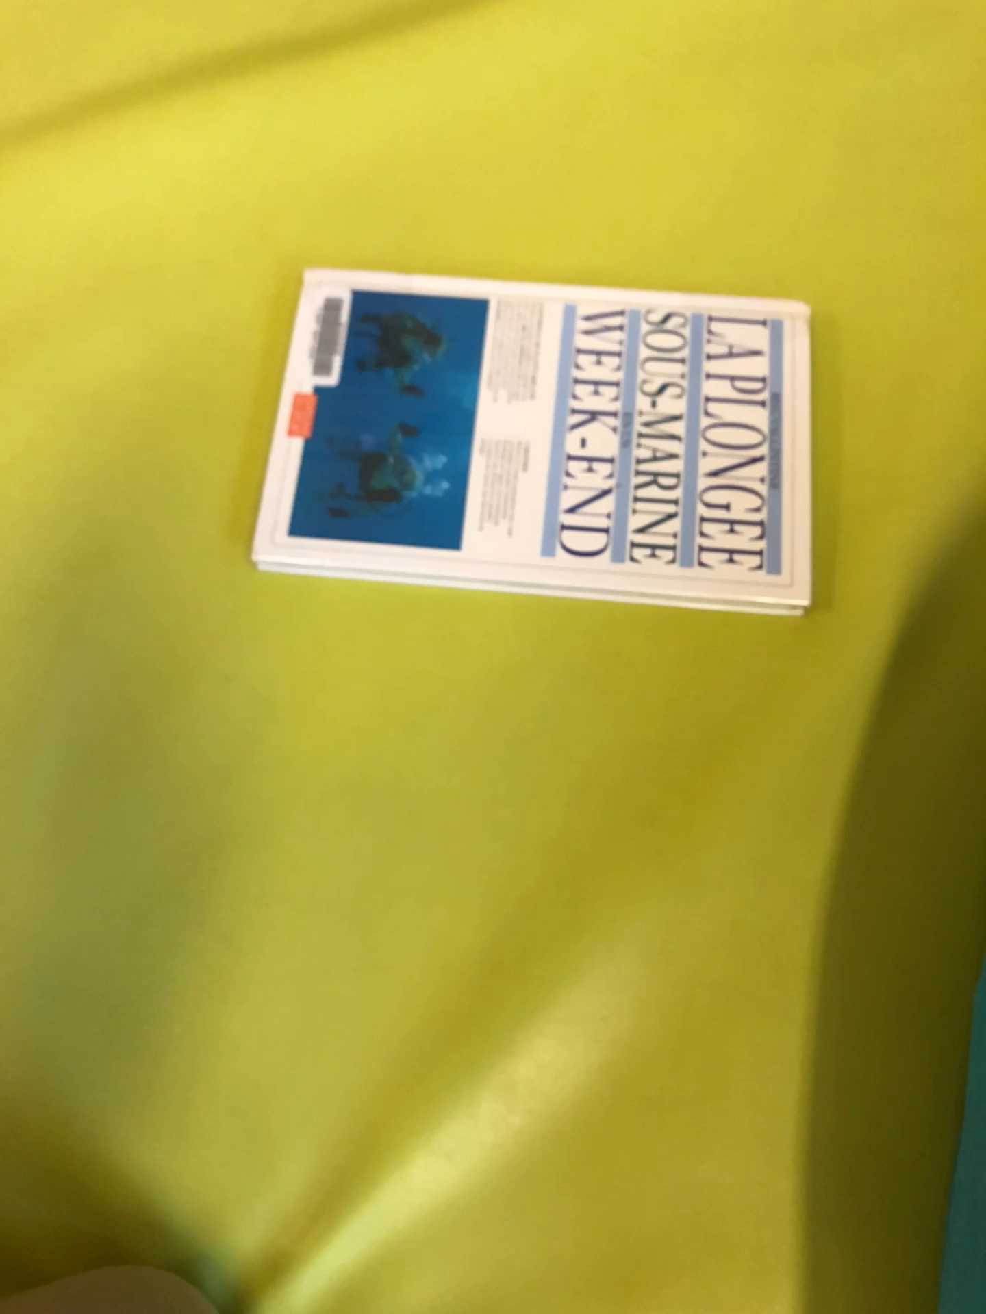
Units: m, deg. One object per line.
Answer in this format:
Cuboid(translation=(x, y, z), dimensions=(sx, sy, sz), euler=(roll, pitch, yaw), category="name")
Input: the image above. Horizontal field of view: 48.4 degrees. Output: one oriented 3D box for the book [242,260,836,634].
Cuboid(translation=(0.024, -0.093, 0.468), dimensions=(0.234, 0.020, 0.150), euler=(5, 69, 2), category="book")
